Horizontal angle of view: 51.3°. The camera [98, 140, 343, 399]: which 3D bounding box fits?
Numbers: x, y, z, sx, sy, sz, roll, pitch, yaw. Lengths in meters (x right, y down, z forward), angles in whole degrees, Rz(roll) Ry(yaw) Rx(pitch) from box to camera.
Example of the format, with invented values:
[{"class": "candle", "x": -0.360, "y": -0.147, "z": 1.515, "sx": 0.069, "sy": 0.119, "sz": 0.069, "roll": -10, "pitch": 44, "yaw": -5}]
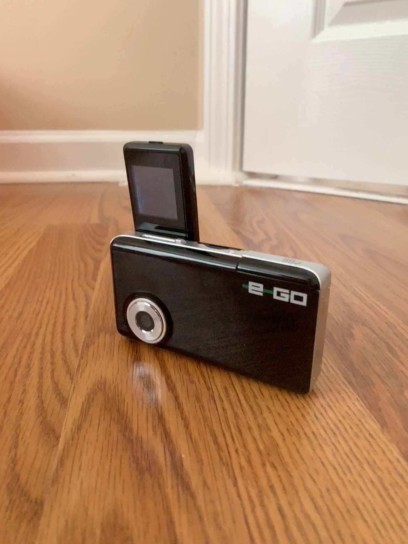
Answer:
[{"class": "camera", "x": 0.002, "y": -0.007, "z": 0.217, "sx": 0.119, "sy": 0.111, "sz": 0.022, "roll": 12, "pitch": 23, "yaw": 29}]
